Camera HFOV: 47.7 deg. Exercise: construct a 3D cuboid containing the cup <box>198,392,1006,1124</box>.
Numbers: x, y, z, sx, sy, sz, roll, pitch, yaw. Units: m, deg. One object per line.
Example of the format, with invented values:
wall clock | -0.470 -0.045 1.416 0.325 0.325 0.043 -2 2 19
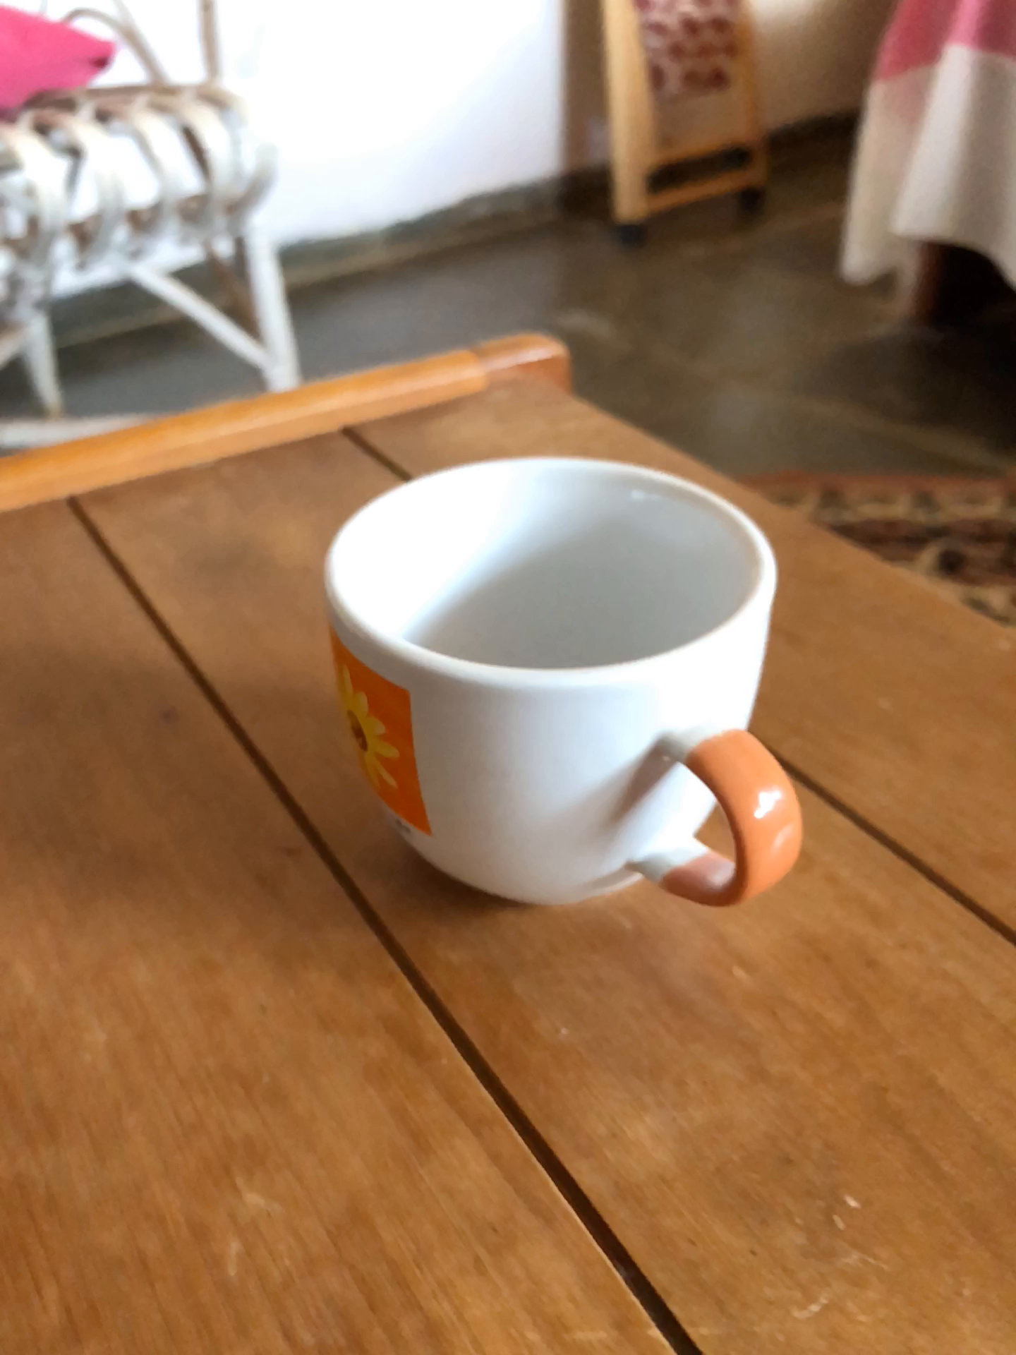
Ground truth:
cup | 0.011 0.002 0.216 0.090 0.060 0.110 -23 41 -28
